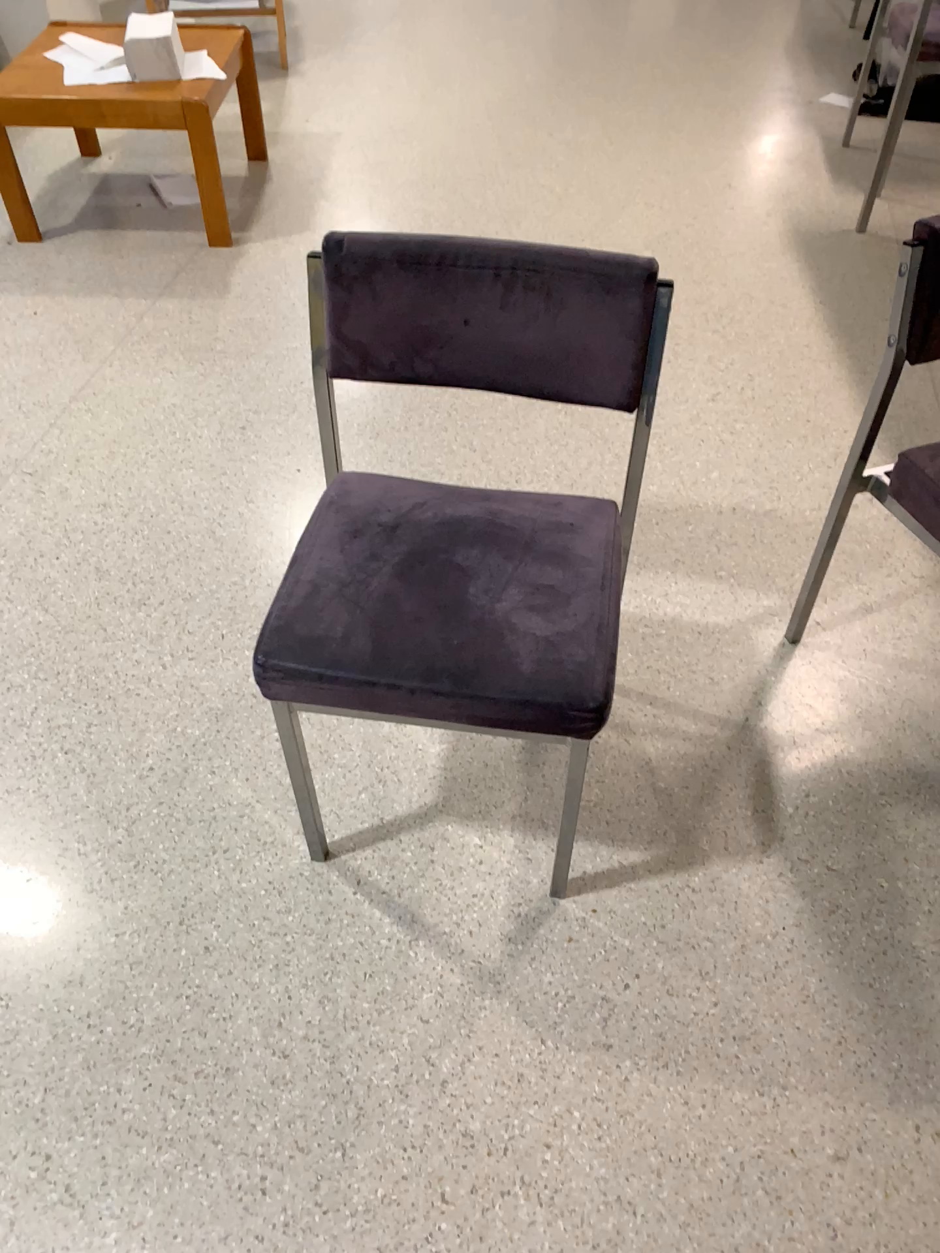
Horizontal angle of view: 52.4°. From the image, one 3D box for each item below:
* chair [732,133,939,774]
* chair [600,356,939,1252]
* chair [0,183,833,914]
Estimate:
[{"bbox_3d":[0.870,-0.267,1.347,0.740,0.614,0.514,-11,40,-10],"label":"chair"},{"bbox_3d":[0.498,0.344,0.604,0.511,0.614,0.746,-17,49,-12],"label":"chair"},{"bbox_3d":[-0.008,-0.129,1.180,0.680,0.505,0.686,7,47,6],"label":"chair"}]
